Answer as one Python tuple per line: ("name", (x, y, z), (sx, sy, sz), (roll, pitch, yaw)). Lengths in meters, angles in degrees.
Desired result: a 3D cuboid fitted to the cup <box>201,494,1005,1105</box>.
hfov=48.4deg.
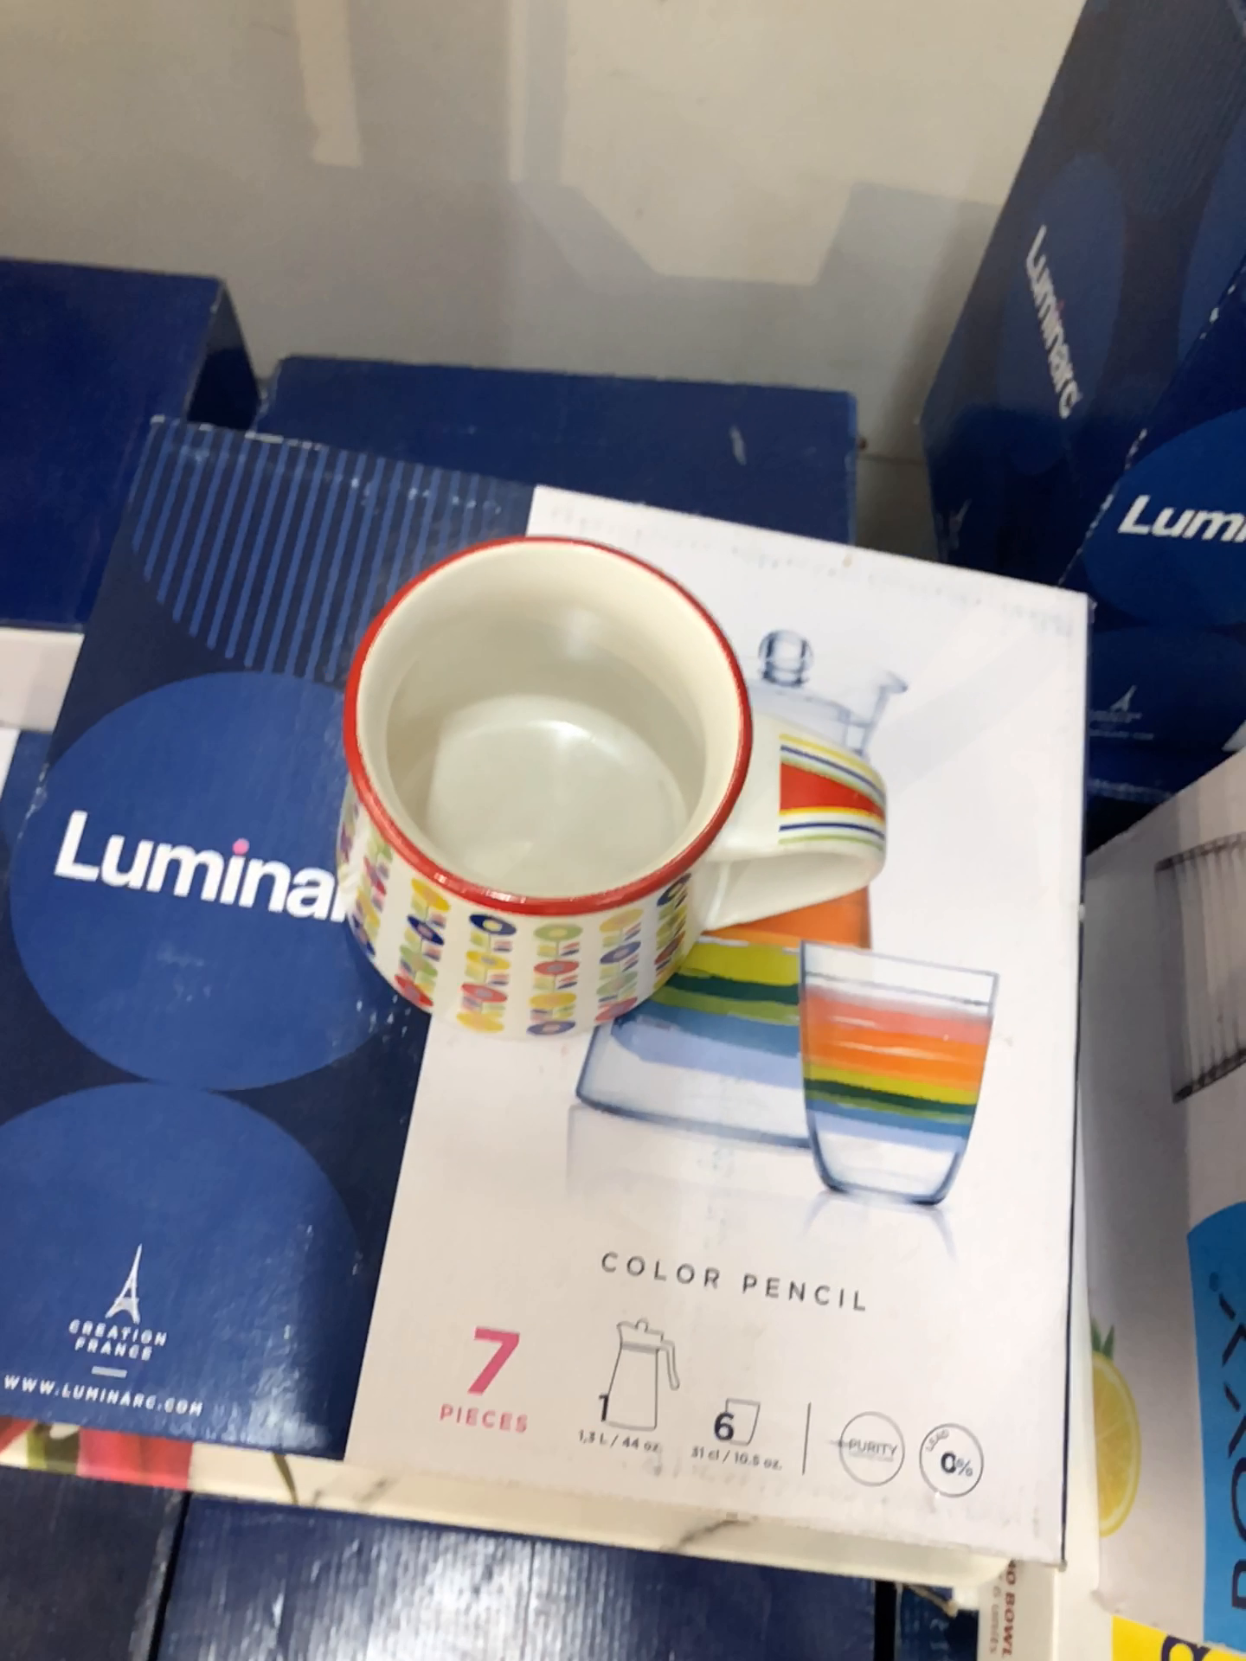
("cup", (-0.002, 0.000, 0.283), (0.130, 0.090, 0.080), (8, 70, -1))
